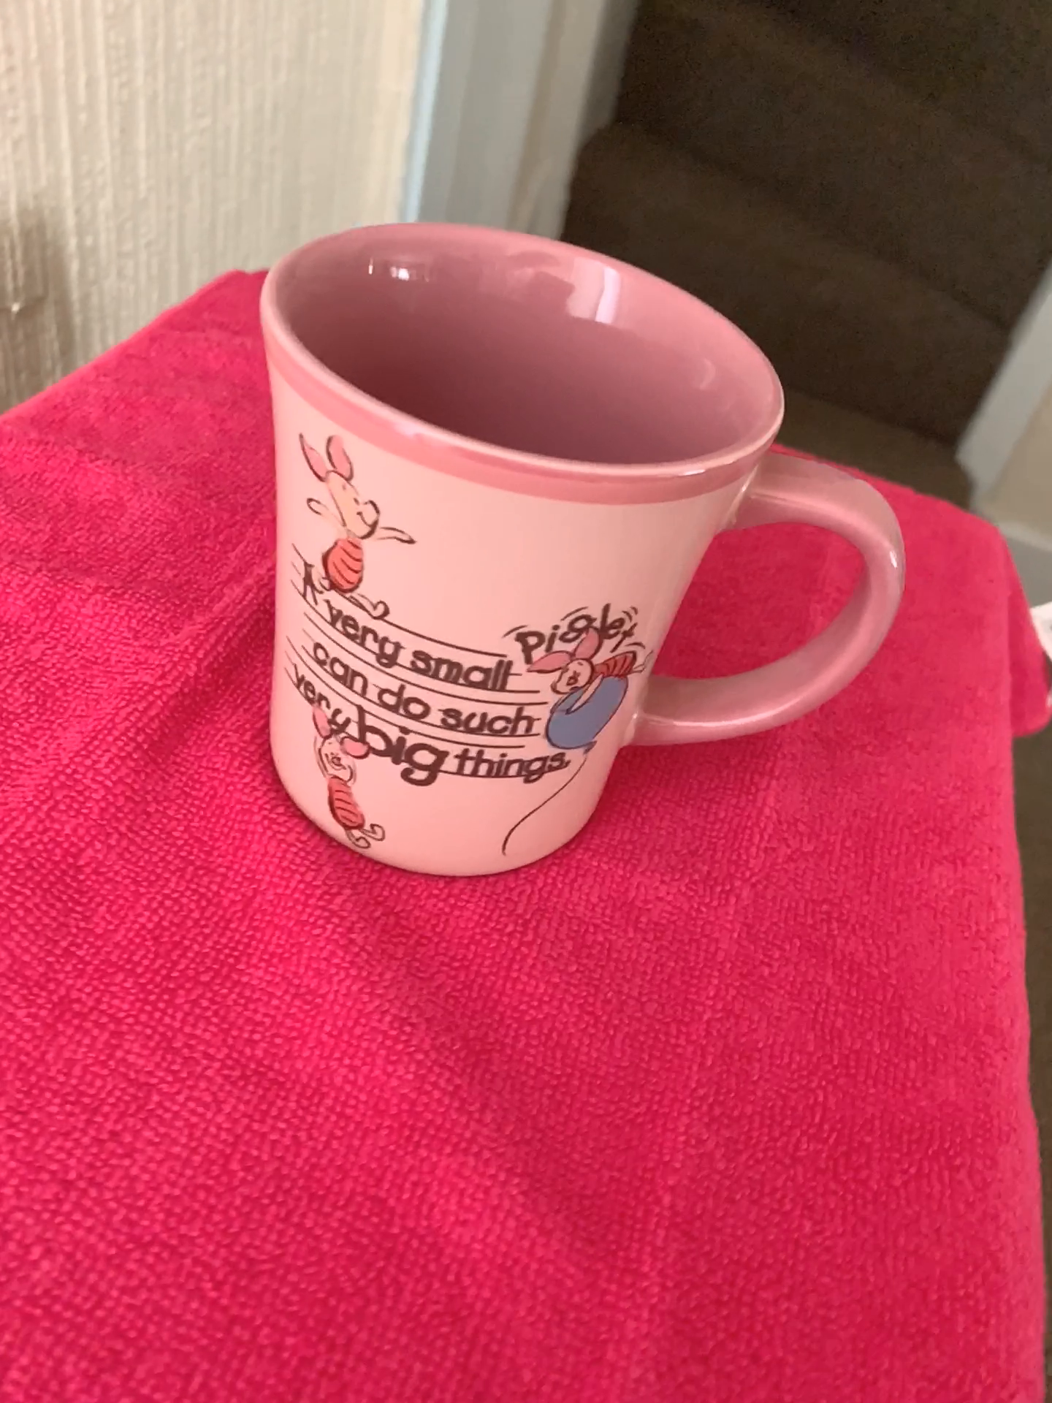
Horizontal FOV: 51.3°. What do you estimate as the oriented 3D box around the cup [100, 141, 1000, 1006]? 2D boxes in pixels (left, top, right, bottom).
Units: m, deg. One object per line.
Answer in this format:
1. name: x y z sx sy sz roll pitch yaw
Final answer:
1. cup: 0.002 -0.026 0.221 0.130 0.109 0.091 18 41 2
